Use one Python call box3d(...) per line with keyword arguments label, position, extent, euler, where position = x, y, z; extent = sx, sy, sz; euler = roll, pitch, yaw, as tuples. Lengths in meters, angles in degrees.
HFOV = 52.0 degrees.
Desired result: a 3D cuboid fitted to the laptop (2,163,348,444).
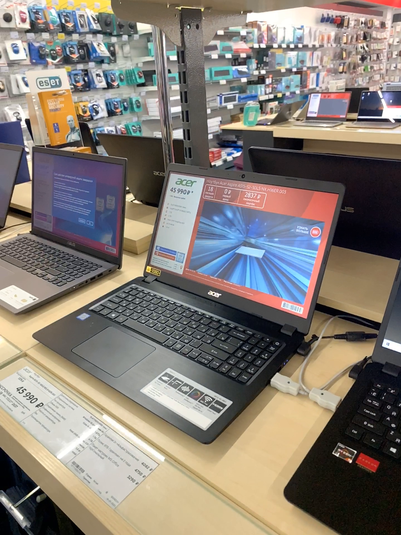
box3d(label="laptop", position=(-0.025, -0.008, 0.652), extent=(0.369, 0.208, 0.365), euler=(16, 32, 36))
